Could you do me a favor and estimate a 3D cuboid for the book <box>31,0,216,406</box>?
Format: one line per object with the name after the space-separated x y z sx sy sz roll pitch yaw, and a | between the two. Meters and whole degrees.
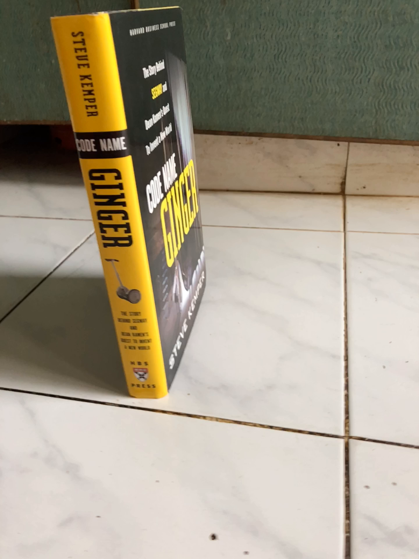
-0.036 -0.065 0.345 0.040 0.239 0.191 1 31 10 | book
